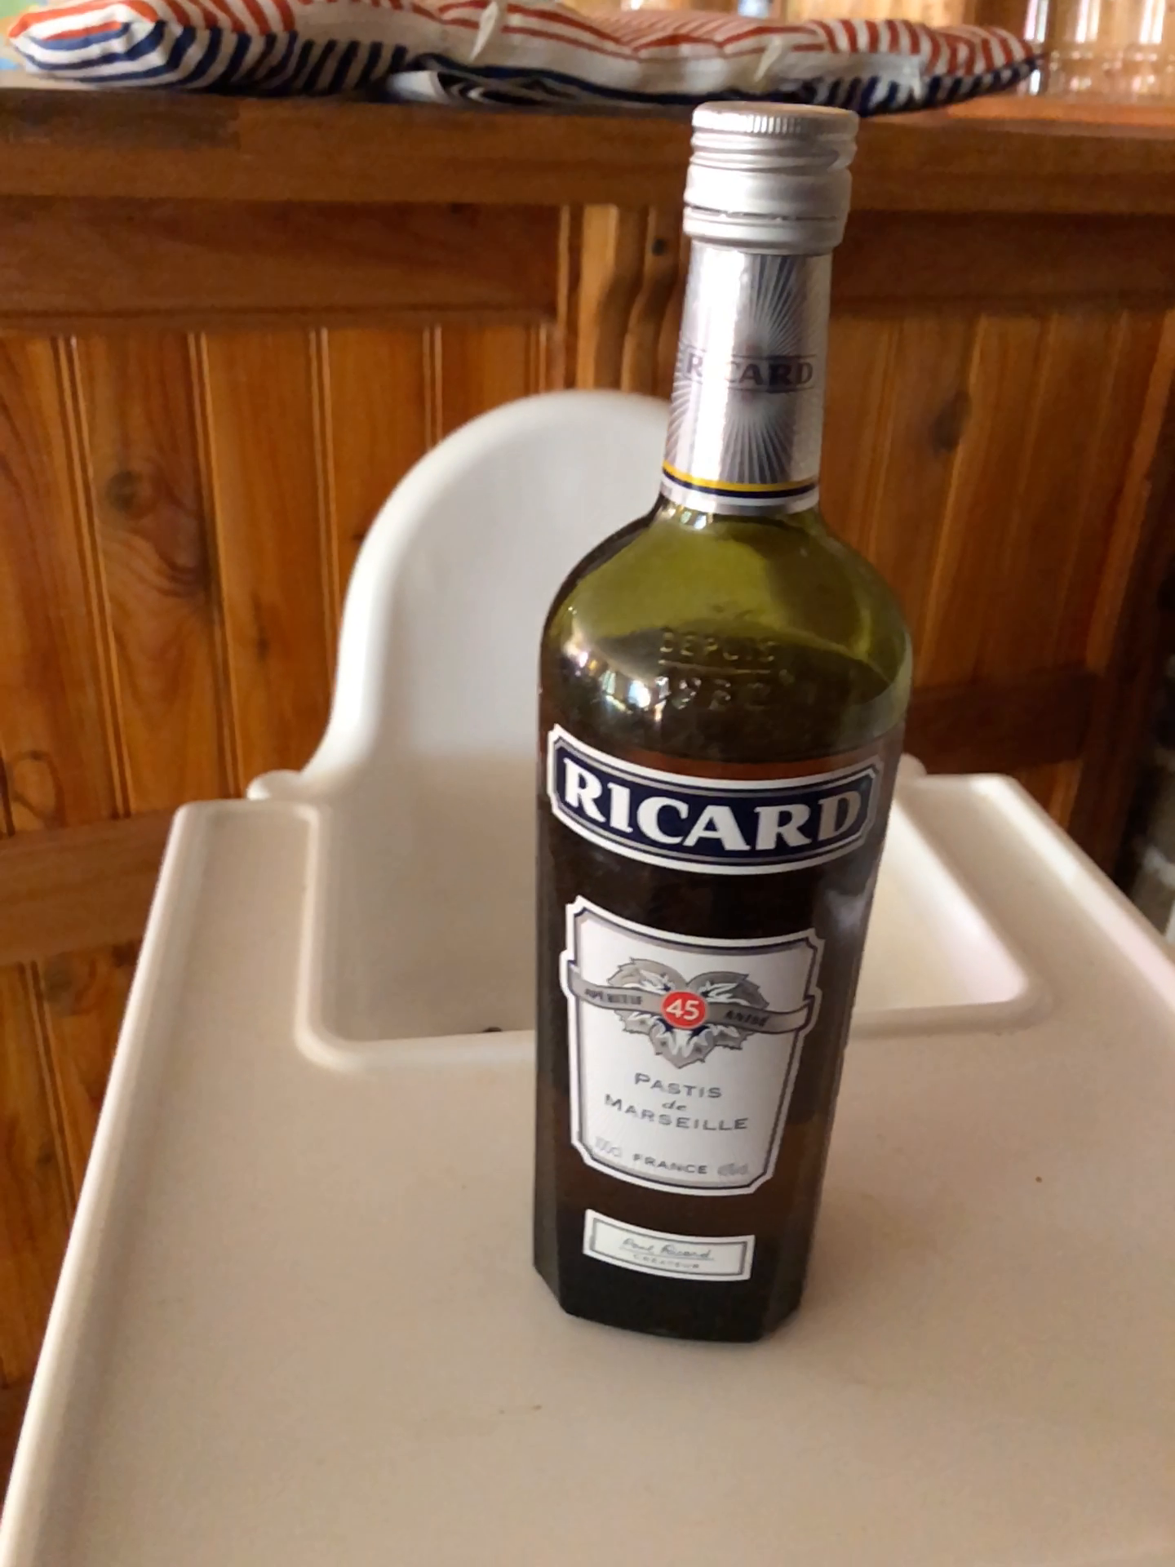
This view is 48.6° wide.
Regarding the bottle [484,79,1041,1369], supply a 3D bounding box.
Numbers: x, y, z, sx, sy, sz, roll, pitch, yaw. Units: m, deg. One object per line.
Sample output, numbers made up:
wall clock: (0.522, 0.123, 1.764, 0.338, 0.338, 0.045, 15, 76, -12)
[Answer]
bottle: (0.028, 0.002, 0.314, 0.090, 0.298, 0.070, 7, 28, 7)
